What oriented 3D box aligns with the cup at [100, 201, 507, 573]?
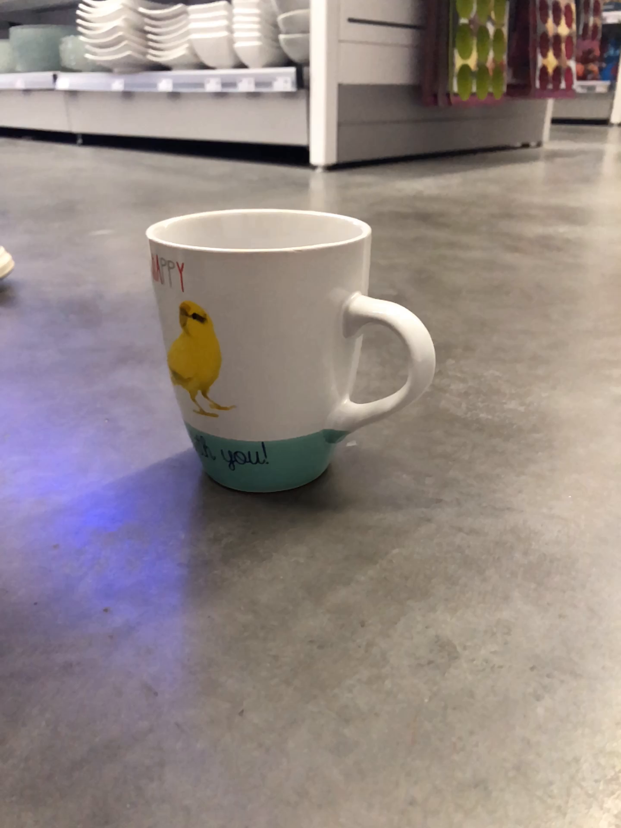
[{"bbox_3d":[-0.004,-0.025,0.295,0.129,0.107,0.098,19,31,36],"label":"cup"}]
